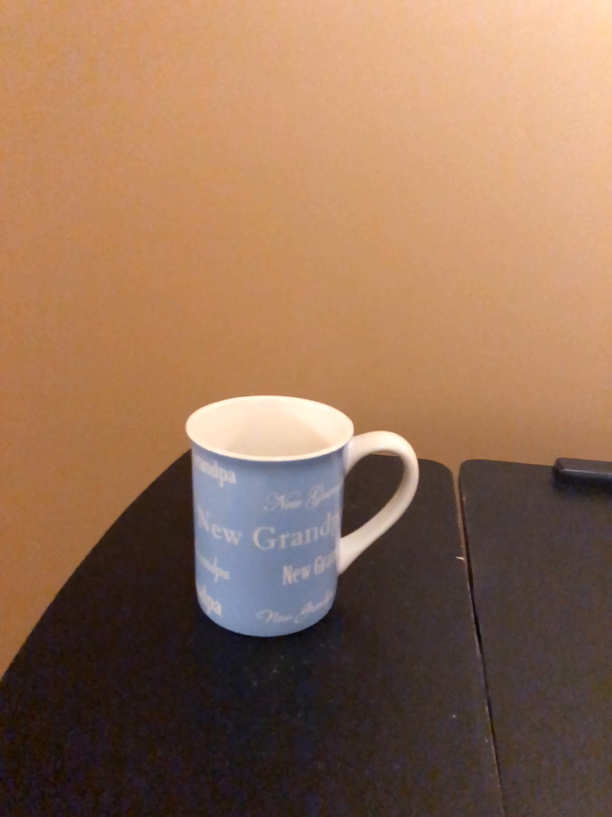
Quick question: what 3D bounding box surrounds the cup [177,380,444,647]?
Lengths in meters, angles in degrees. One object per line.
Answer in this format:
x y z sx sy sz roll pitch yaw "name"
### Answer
-0.006 0.053 0.396 0.130 0.110 0.100 -2 21 -13 "cup"
